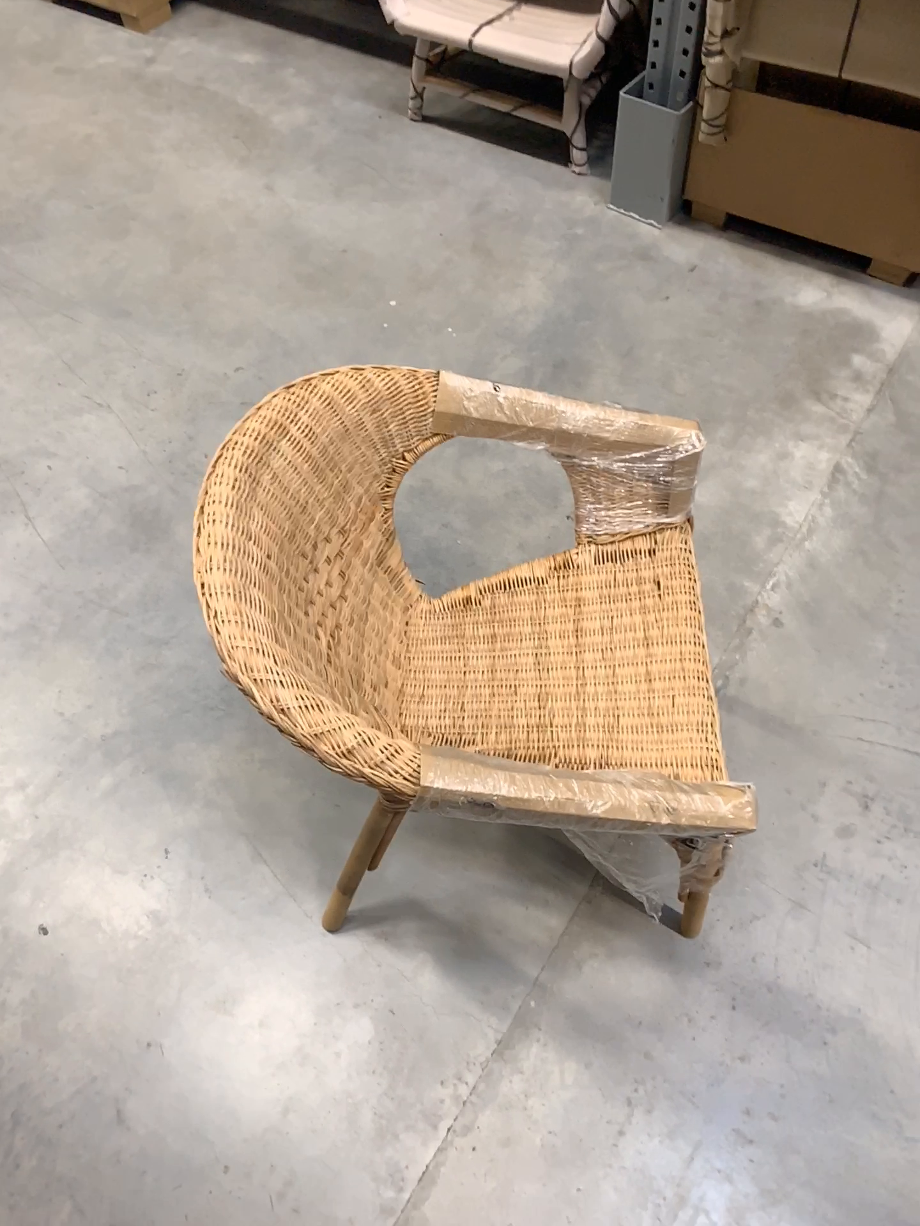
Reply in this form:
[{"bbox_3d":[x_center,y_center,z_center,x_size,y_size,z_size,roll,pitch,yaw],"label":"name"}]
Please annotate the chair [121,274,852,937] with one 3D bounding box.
[{"bbox_3d":[0.038,0.047,1.313,0.650,0.758,0.602,-1,56,3],"label":"chair"}]
